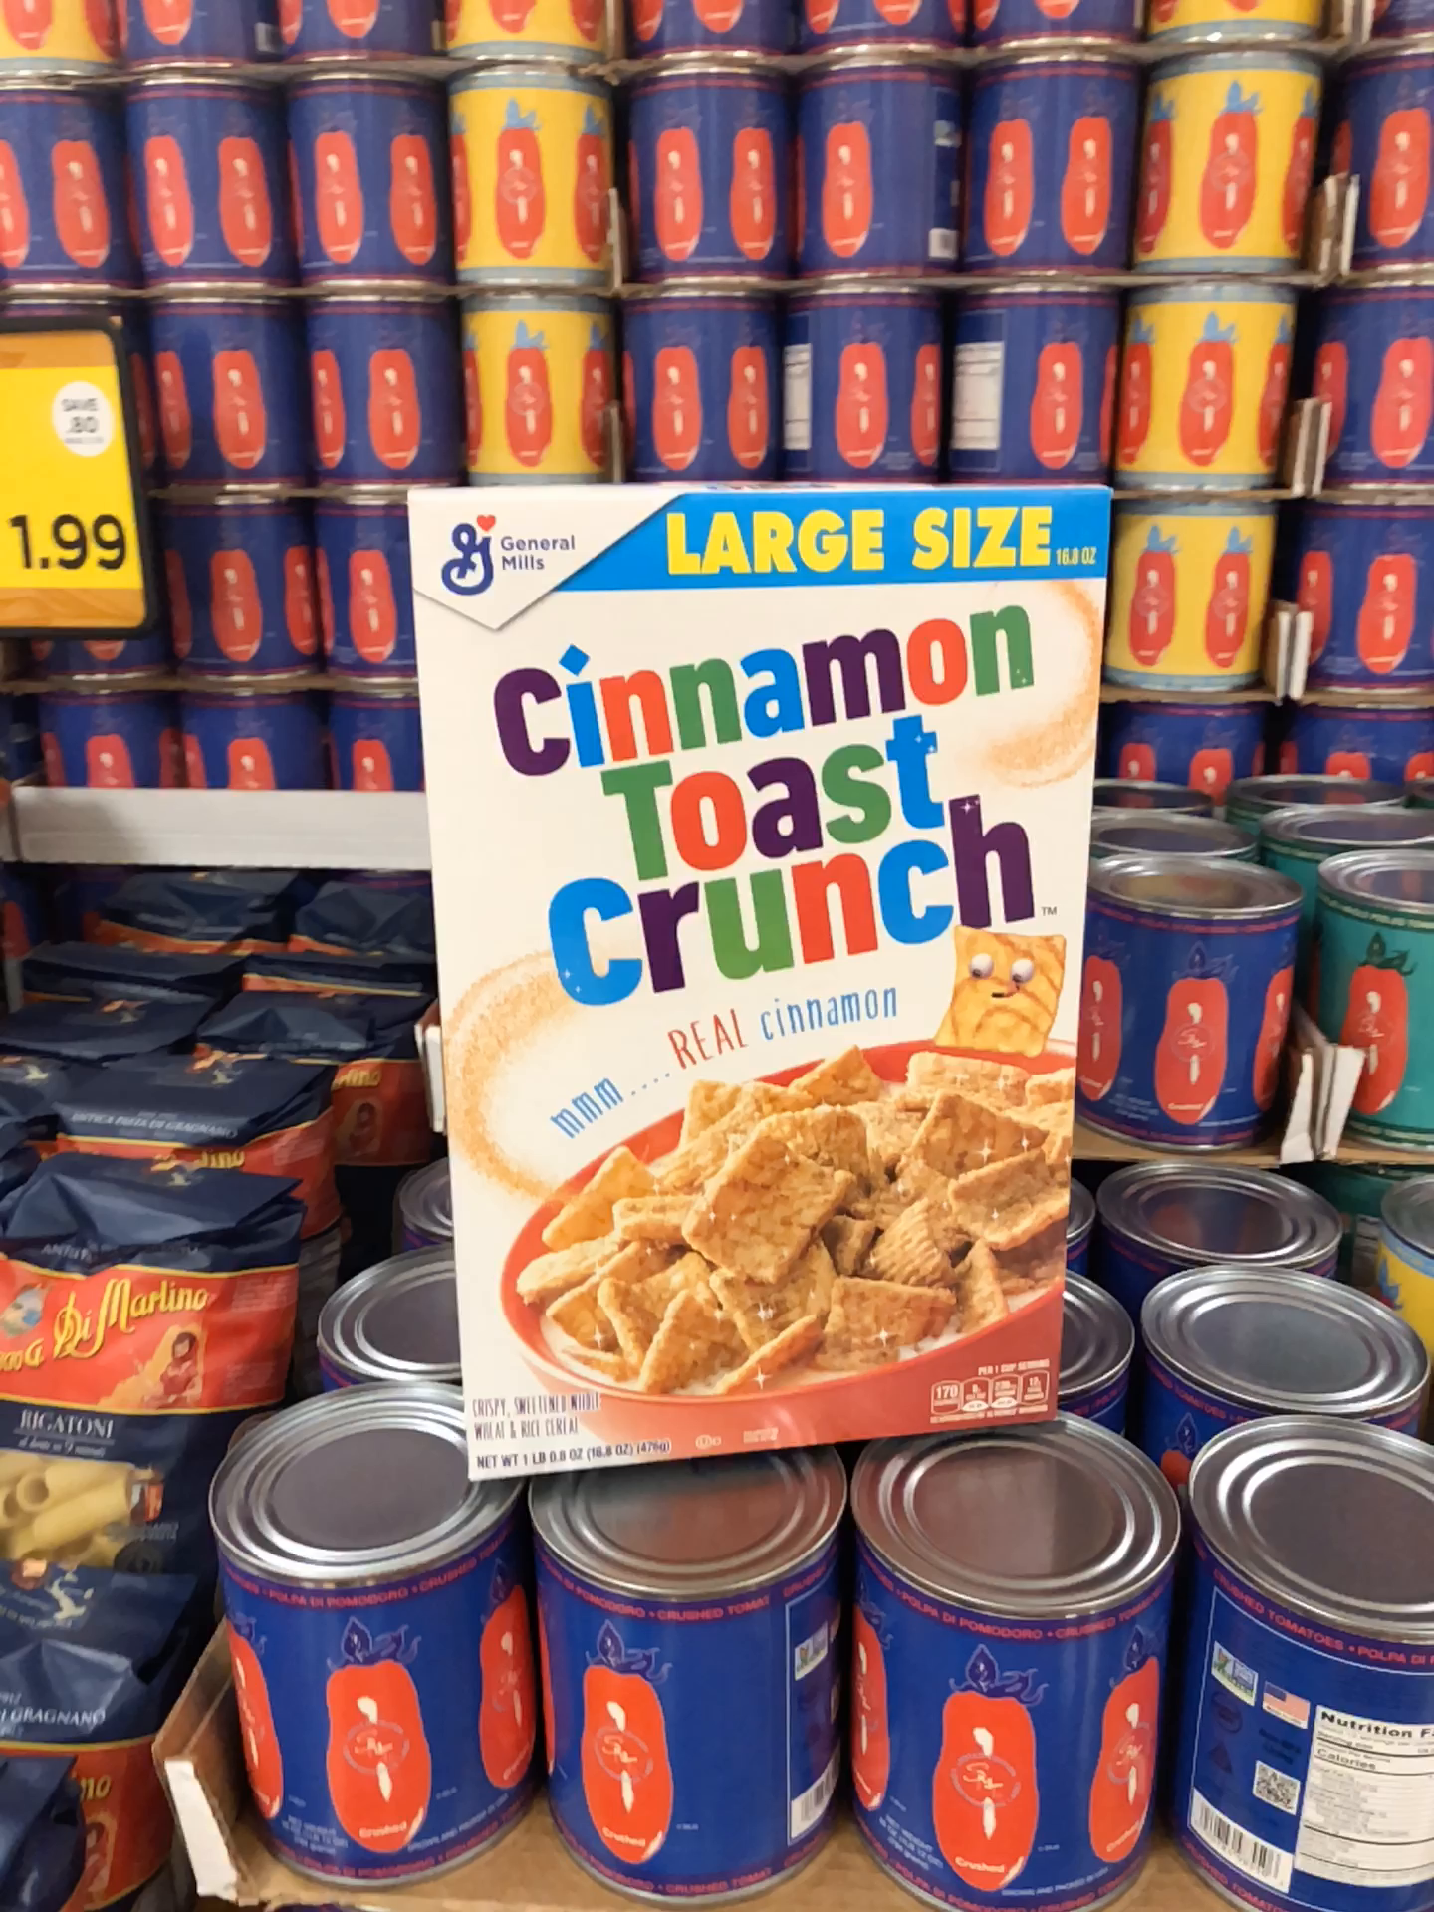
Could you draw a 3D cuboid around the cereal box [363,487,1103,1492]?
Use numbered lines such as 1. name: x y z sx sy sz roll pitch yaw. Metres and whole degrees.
1. cereal box: 0.004 0.010 0.498 0.200 0.298 0.070 -3 18 -8
